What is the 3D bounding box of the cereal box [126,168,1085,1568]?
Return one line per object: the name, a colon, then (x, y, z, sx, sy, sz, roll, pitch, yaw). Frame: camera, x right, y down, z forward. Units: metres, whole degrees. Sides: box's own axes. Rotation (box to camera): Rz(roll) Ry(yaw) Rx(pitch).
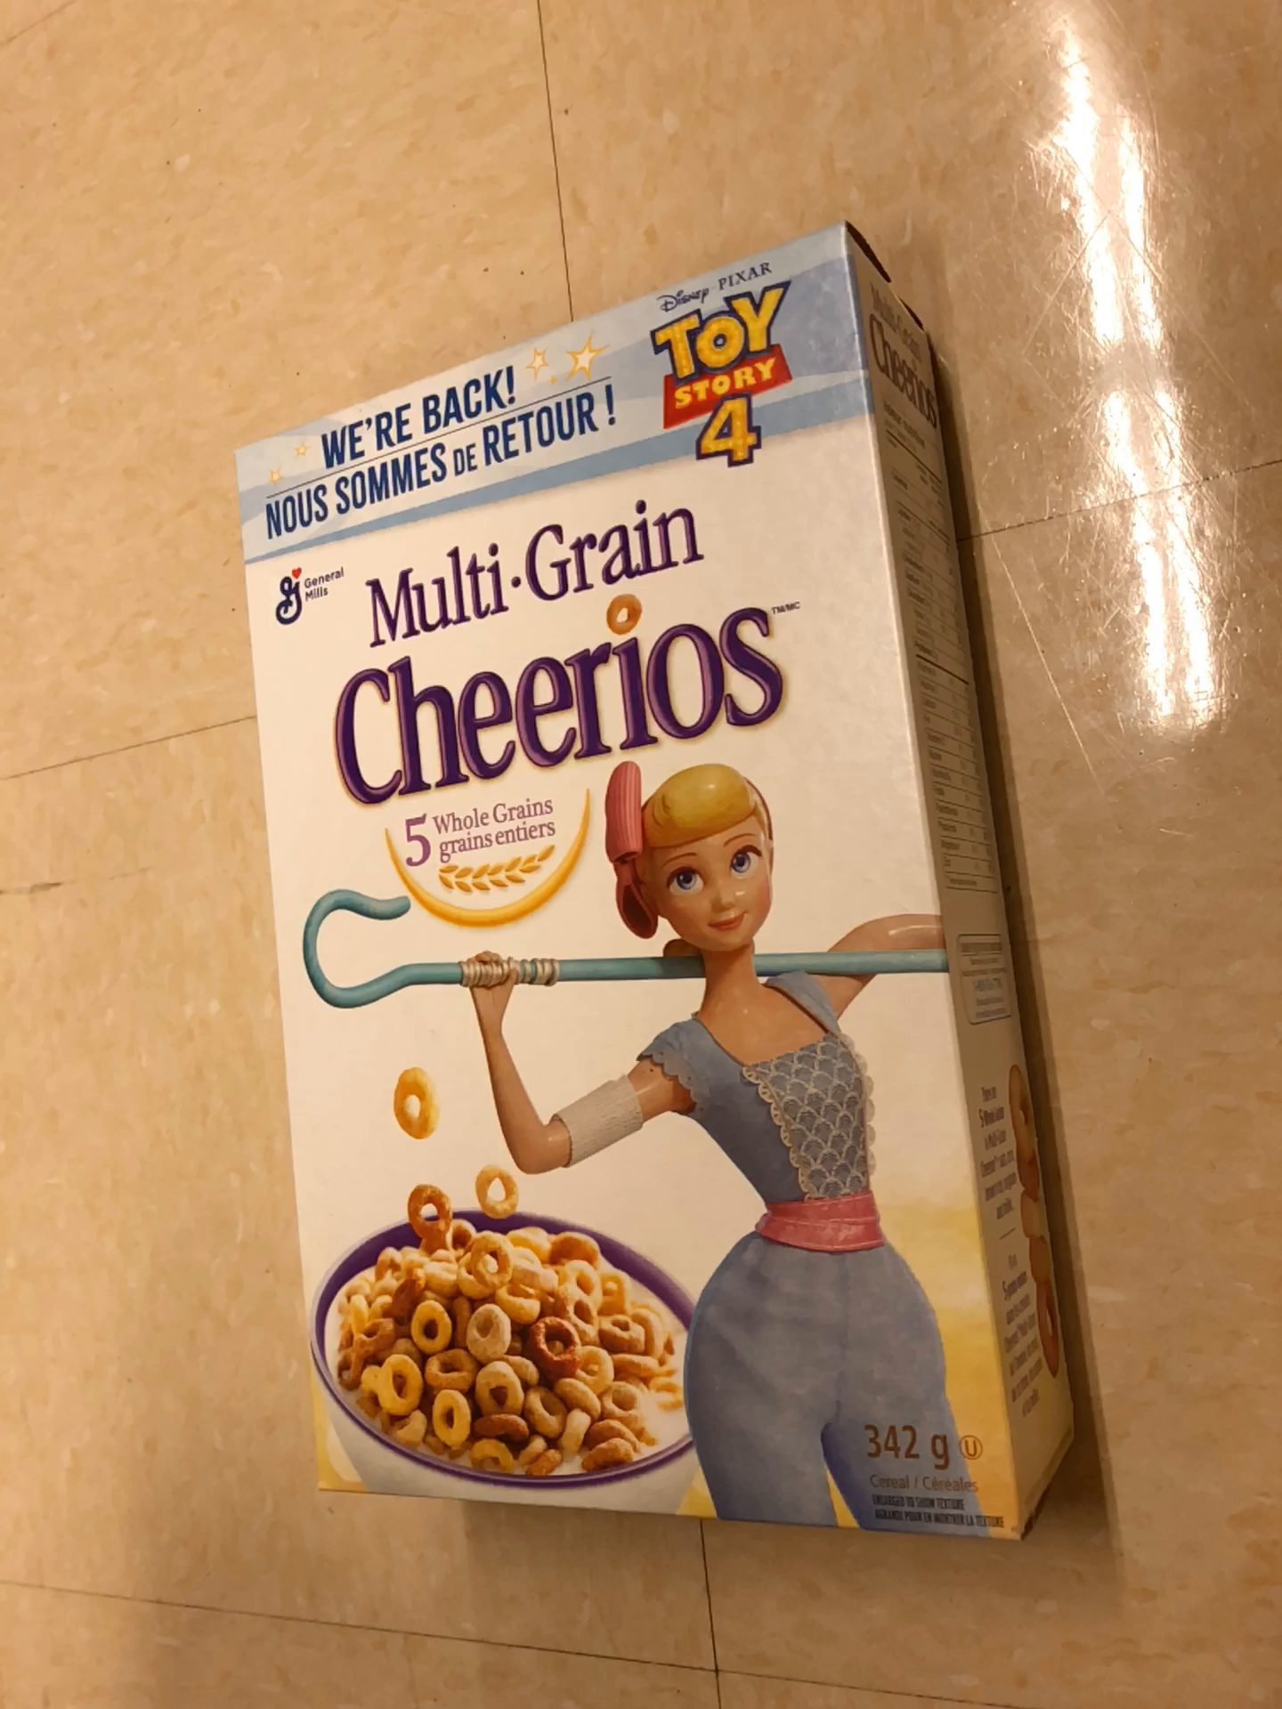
cereal box: (-0.021, 0.013, 0.368, 0.211, 0.070, 0.290, -10, 83, 27)
